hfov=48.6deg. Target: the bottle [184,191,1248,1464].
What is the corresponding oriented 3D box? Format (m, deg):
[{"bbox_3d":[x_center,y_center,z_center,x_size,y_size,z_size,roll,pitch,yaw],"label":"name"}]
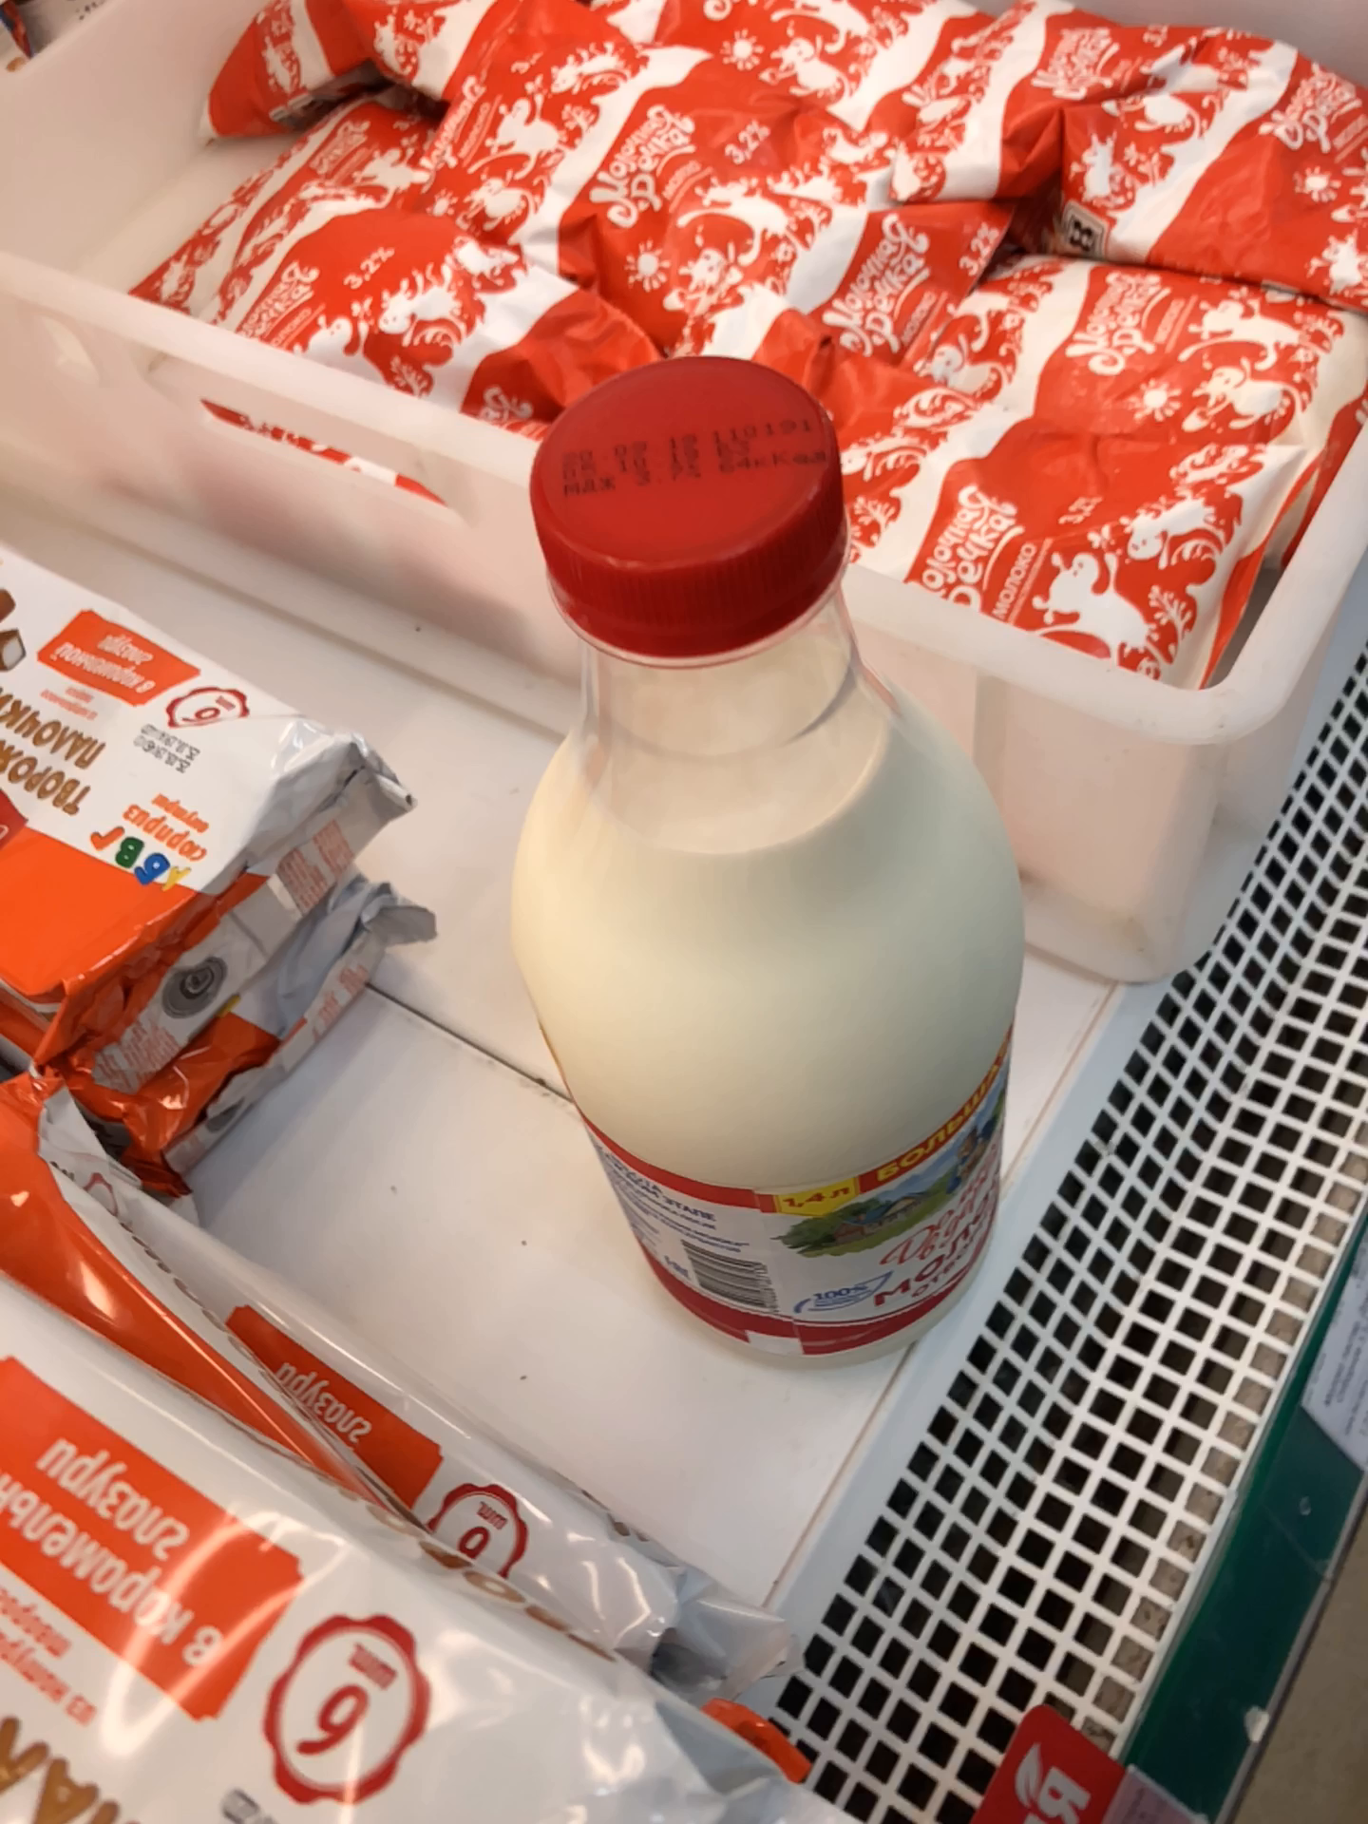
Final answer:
[{"bbox_3d":[0.021,0.011,0.302,0.100,0.249,0.100,-4,58,7],"label":"bottle"}]
